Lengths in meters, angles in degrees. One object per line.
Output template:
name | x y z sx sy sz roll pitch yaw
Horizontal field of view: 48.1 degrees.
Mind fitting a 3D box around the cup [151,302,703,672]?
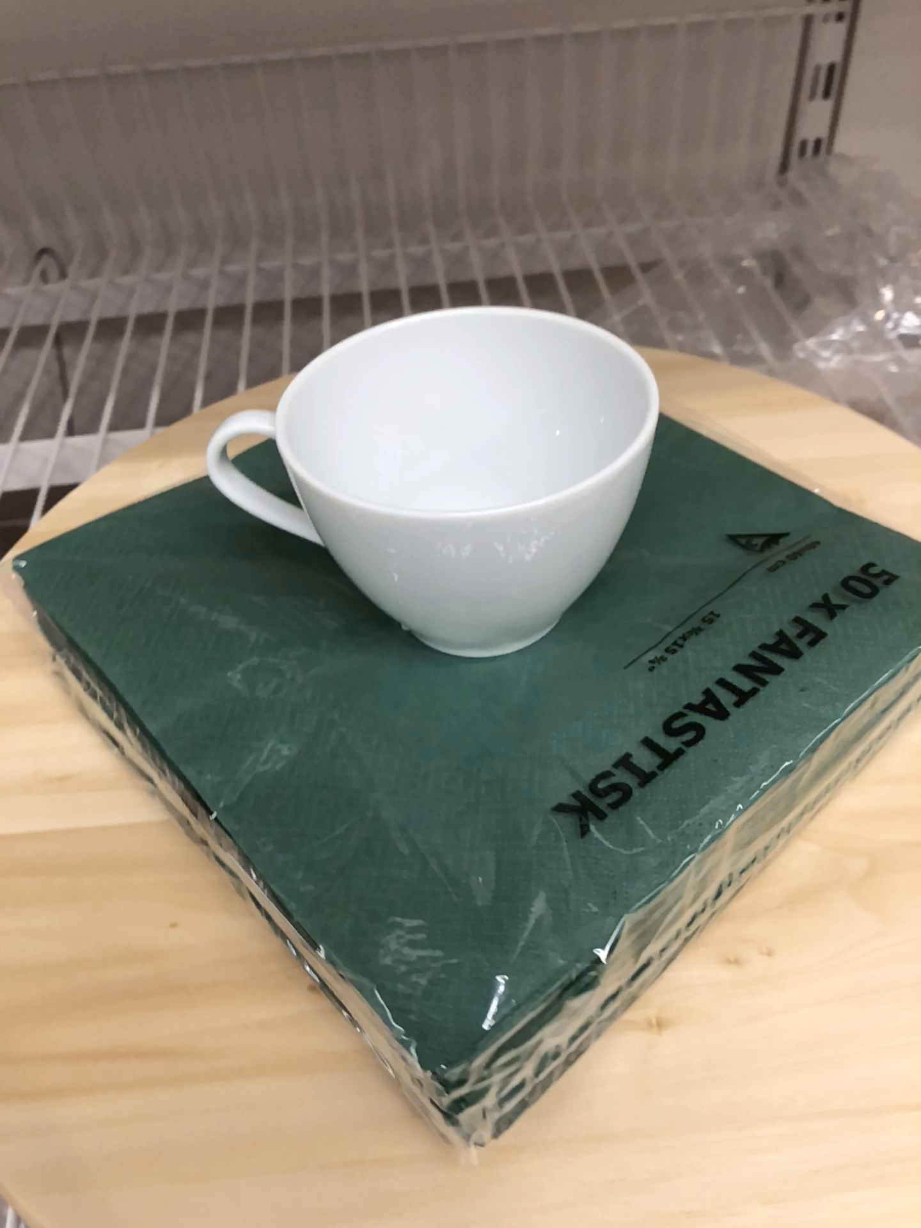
cup | -0.004 -0.036 0.272 0.120 0.050 0.090 1 45 6
